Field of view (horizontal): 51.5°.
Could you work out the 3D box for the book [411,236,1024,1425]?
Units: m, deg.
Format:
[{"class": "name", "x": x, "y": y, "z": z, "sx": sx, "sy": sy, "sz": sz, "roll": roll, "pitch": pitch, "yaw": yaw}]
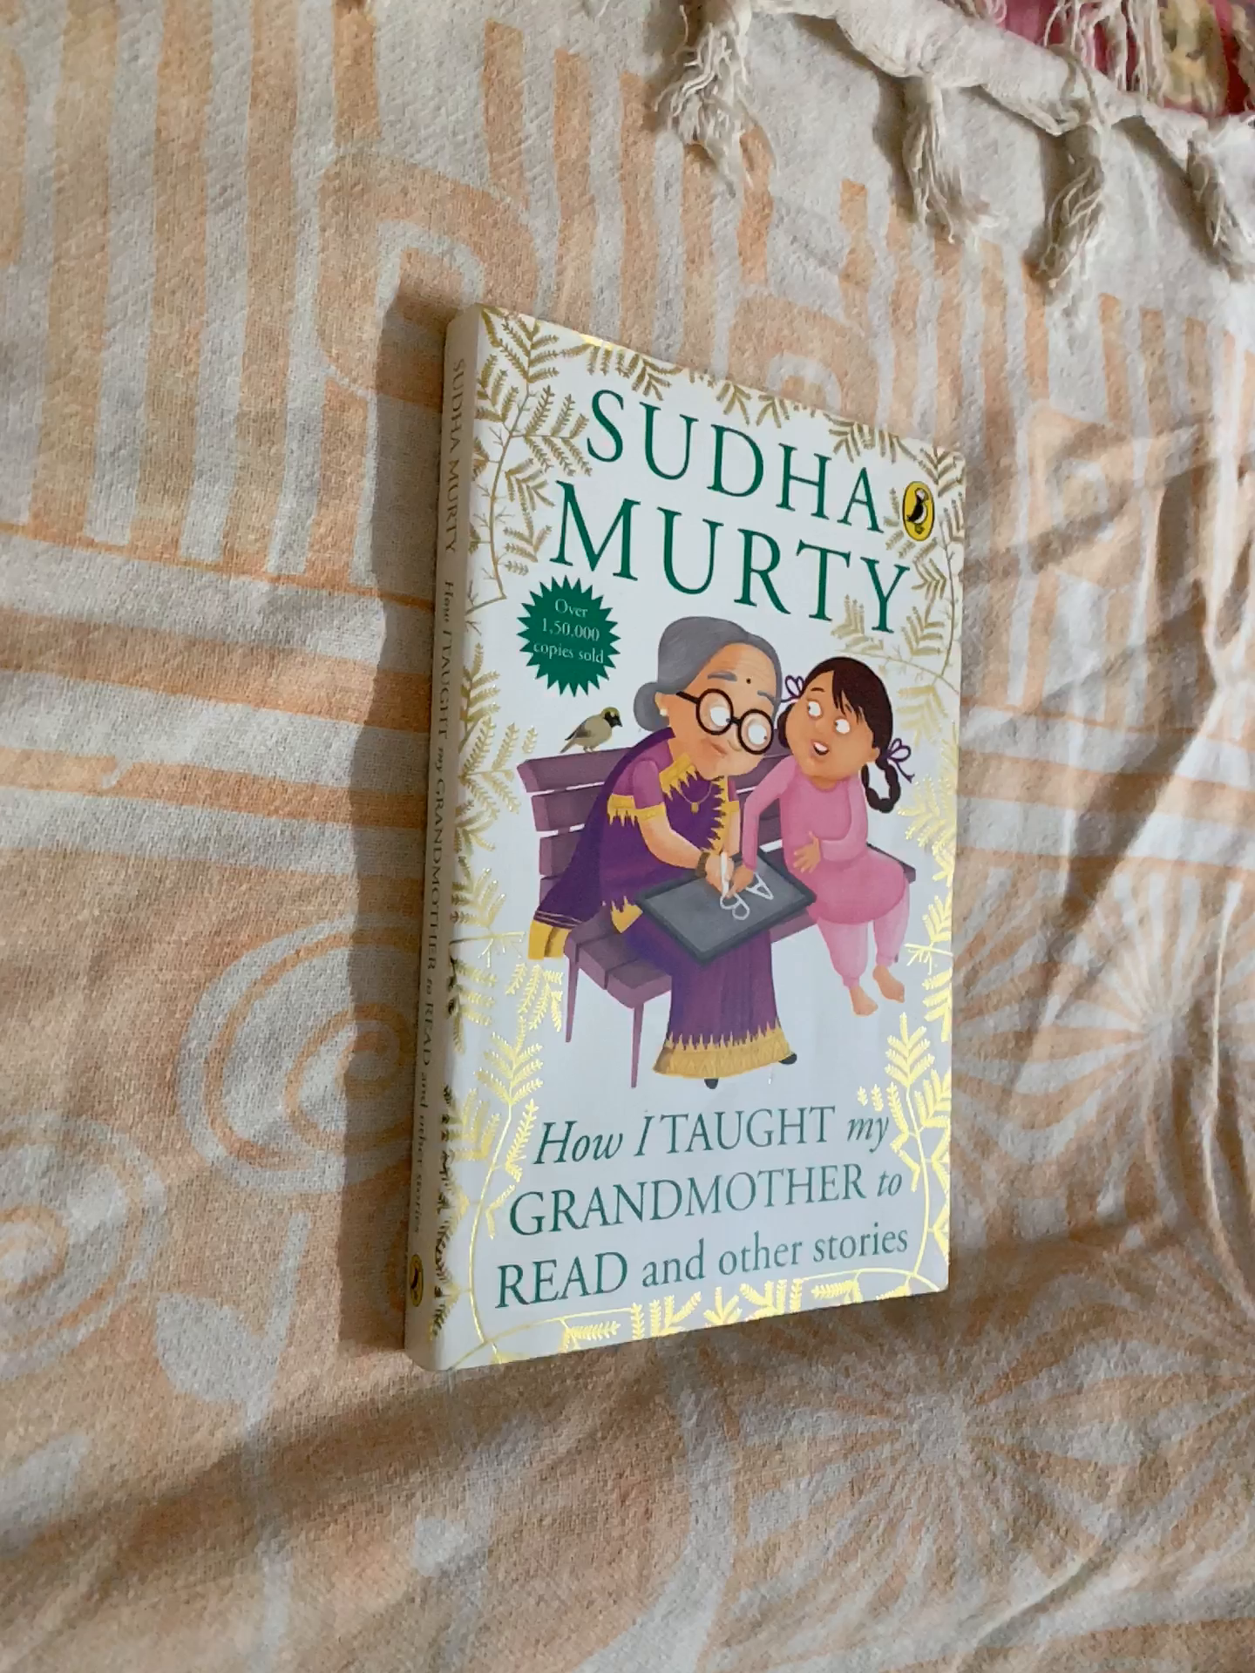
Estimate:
[{"class": "book", "x": 0.024, "y": -0.001, "z": 0.261, "sx": 0.131, "sy": 0.020, "sz": 0.200, "roll": 3, "pitch": 83, "yaw": -31}]
